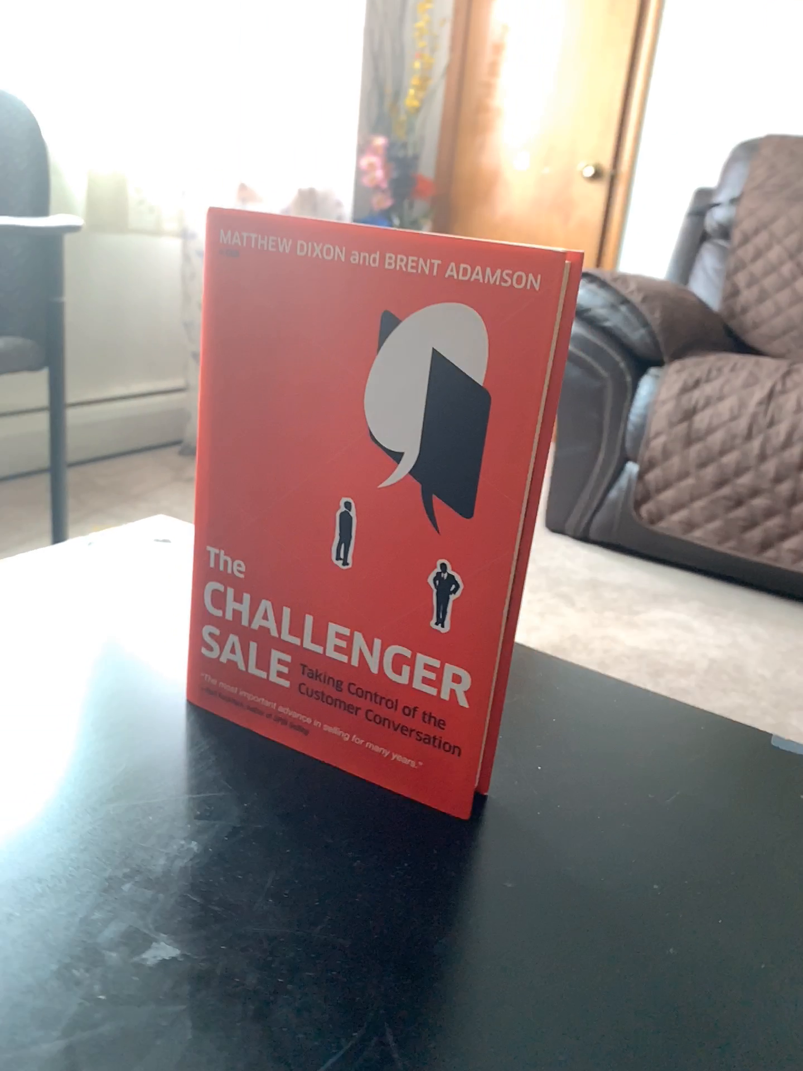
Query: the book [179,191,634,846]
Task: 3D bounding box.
[{"bbox_3d":[-0.013,-0.011,0.357,0.170,0.239,0.040,16,21,24],"label":"book"}]
